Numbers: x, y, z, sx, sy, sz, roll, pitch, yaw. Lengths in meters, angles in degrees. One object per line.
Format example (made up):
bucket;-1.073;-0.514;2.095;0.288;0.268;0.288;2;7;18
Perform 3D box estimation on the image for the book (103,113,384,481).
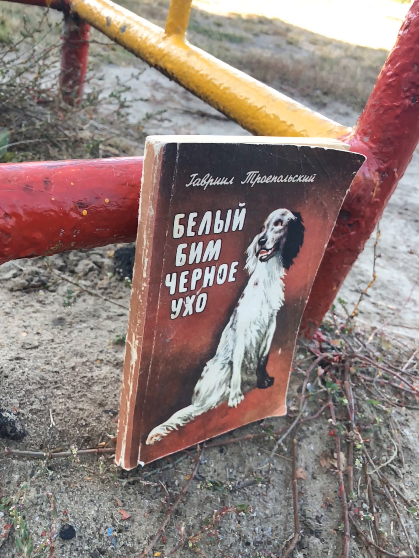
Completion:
book;0.013;0.014;0.264;0.130;0.196;0.030;-10;35;-33
